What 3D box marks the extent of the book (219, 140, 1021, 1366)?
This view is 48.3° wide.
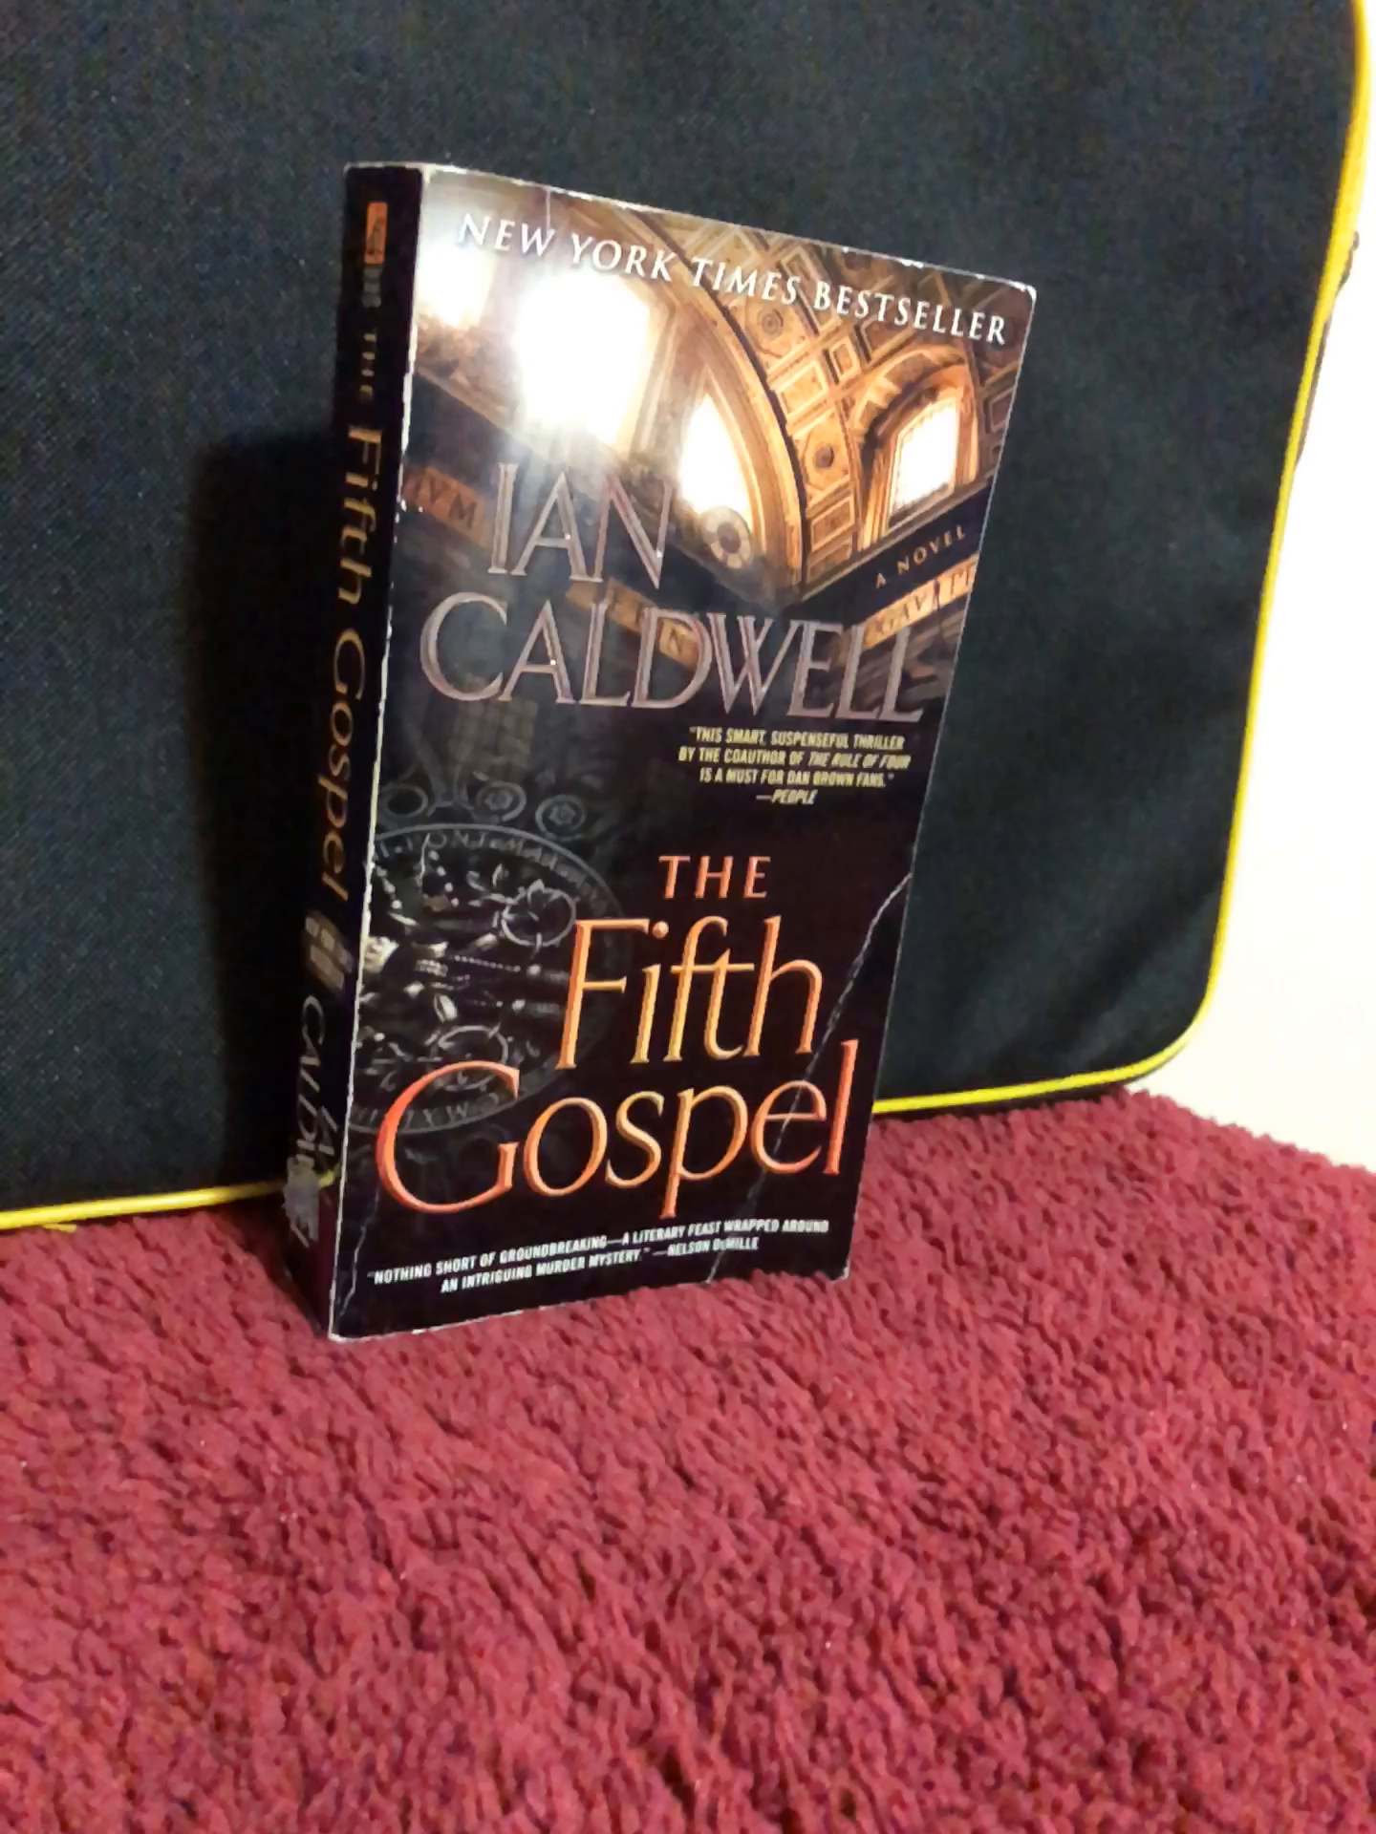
[{"bbox_3d":[-0.020,-0.022,0.290,0.120,0.199,0.050,1,18,-22],"label":"book"}]
